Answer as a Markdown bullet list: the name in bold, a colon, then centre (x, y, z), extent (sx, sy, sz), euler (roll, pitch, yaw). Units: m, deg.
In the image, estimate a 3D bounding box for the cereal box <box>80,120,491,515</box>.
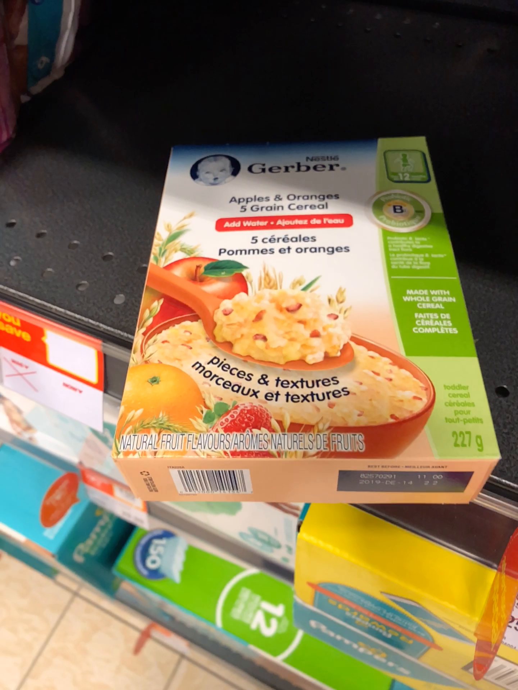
- **cereal box**: centre (0.013, -0.027, 0.294), extent (0.150, 0.050, 0.210), euler (0, 54, 4)
